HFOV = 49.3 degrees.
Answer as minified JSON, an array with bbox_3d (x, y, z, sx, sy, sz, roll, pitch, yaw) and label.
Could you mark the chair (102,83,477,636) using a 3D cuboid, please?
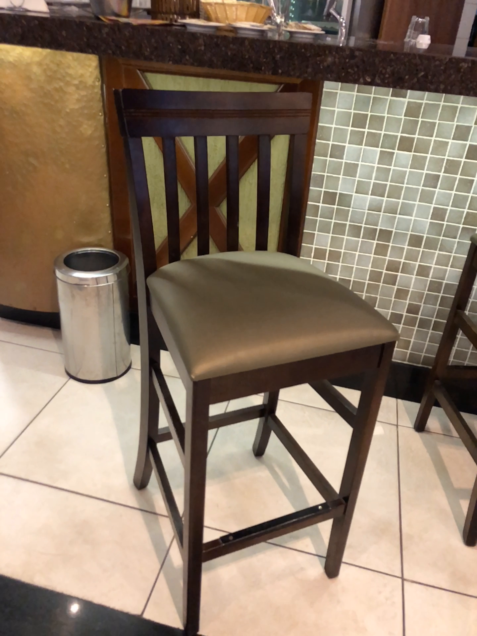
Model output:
[{"bbox_3d":[0.020,0.089,1.128,0.461,1.032,0.493,-10,33,-23],"label":"chair"}]
